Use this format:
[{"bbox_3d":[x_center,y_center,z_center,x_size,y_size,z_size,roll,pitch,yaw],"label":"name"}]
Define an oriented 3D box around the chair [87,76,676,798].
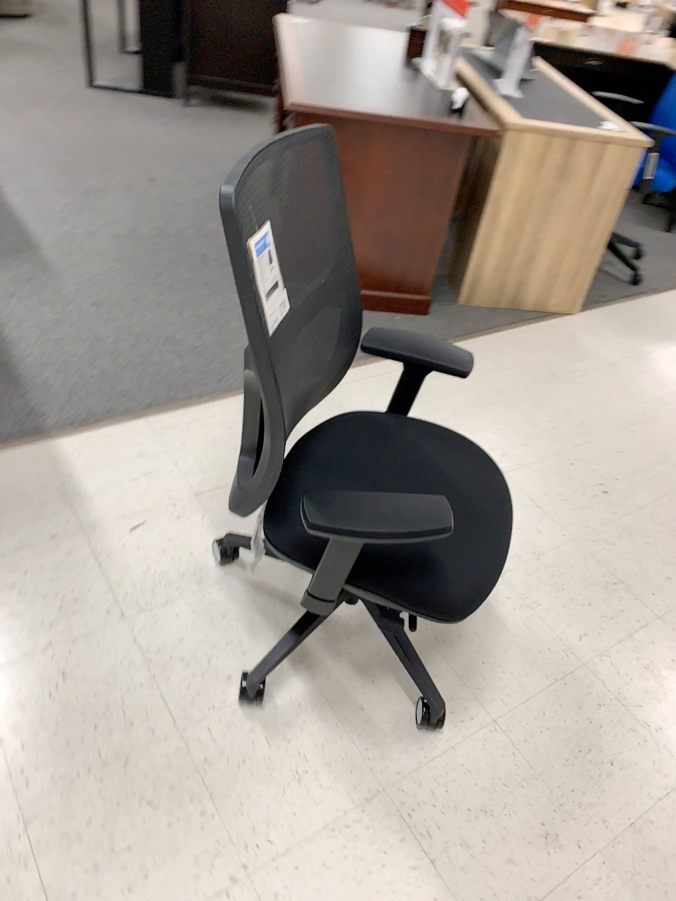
[{"bbox_3d":[0.088,-0.023,1.313,0.730,0.994,0.704,17,40,7],"label":"chair"}]
